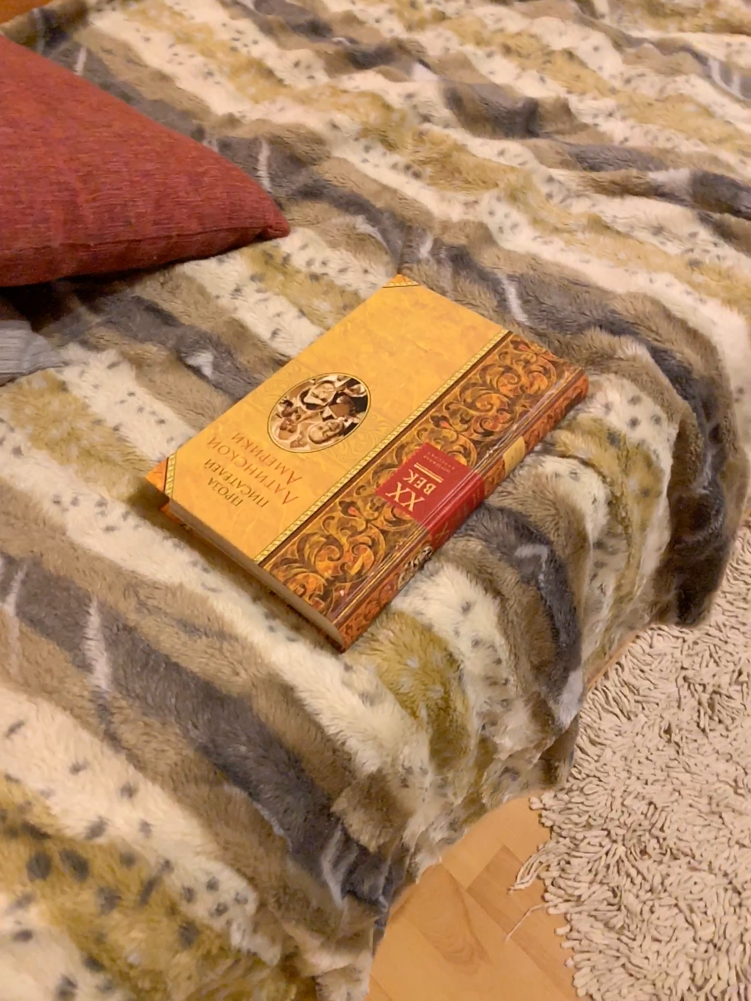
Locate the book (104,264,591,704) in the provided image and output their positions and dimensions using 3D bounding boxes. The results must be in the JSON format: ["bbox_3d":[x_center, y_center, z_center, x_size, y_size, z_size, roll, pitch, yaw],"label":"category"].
[{"bbox_3d":[-0.010,-0.031,0.518,0.181,0.060,0.271,34,63,23],"label":"book"}]
